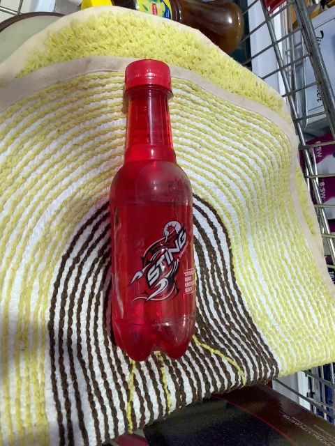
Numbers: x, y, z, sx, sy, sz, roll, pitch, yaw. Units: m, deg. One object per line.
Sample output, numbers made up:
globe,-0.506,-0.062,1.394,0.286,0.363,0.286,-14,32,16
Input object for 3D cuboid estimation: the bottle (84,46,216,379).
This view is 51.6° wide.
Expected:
bottle,-0.011,-0.006,0.209,0.060,0.040,0.170,-3,90,-31
